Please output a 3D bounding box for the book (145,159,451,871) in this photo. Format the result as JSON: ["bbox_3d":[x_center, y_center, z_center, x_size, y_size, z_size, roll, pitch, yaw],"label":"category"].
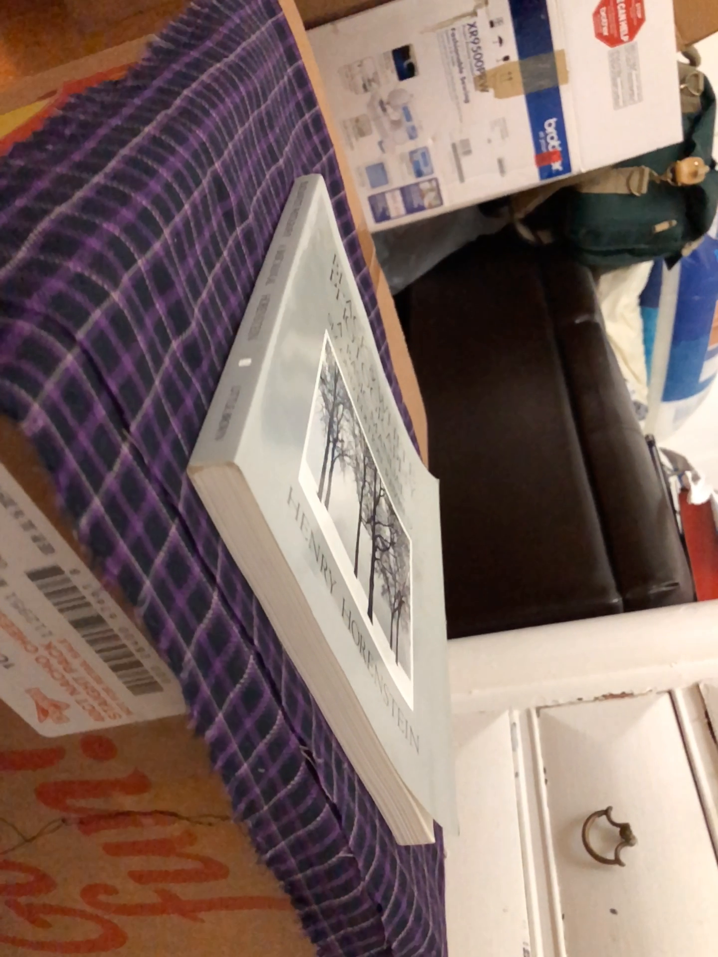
[{"bbox_3d":[-0.001,0.001,0.361,0.251,0.030,0.210,-84,158,-51],"label":"book"}]
